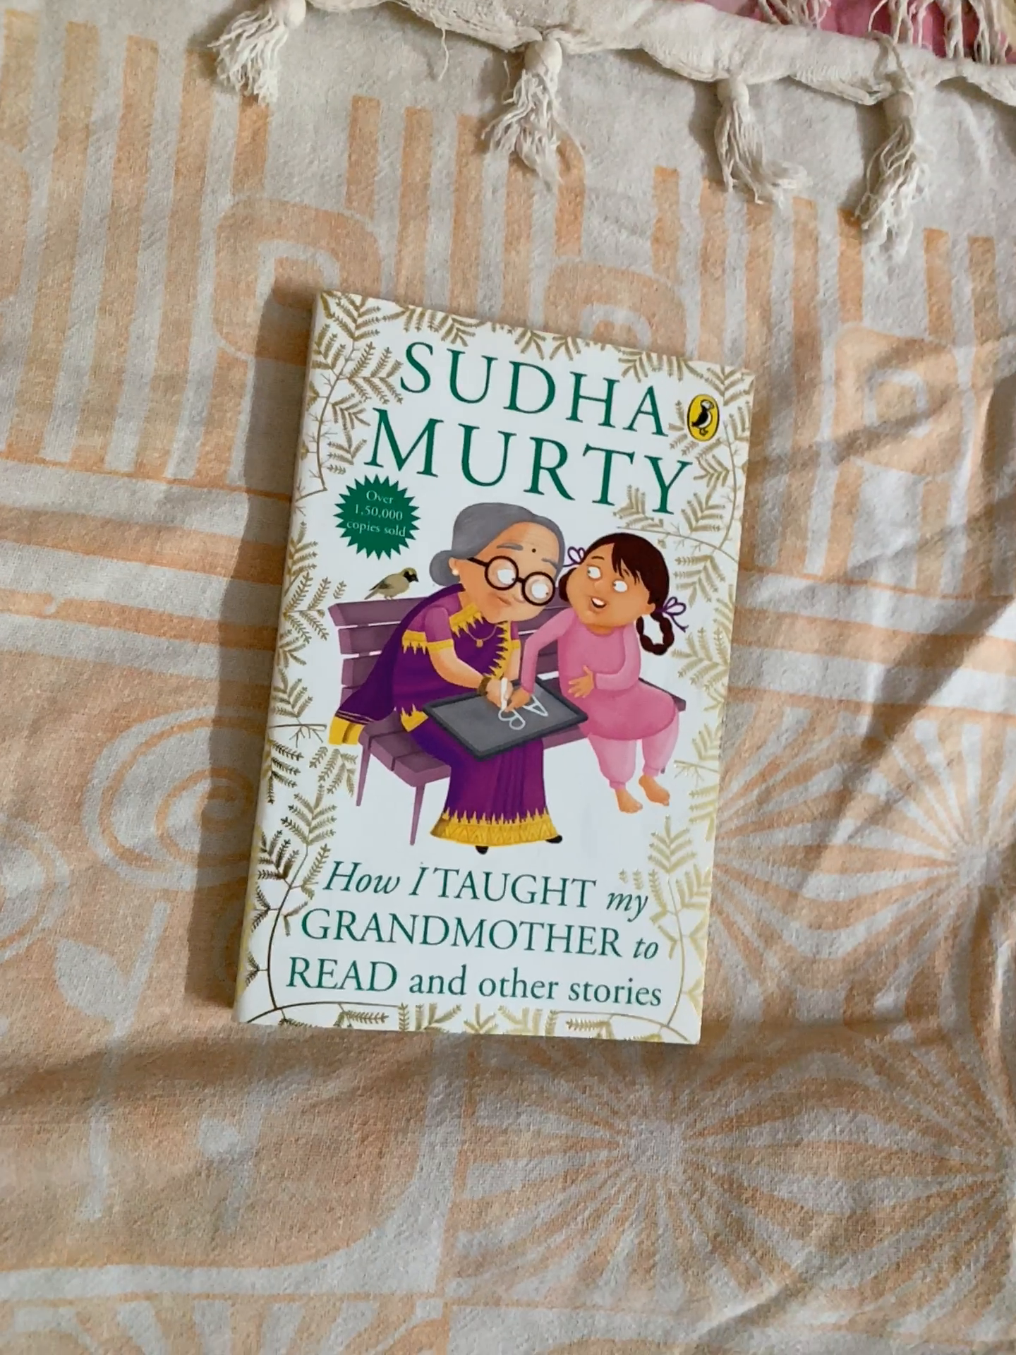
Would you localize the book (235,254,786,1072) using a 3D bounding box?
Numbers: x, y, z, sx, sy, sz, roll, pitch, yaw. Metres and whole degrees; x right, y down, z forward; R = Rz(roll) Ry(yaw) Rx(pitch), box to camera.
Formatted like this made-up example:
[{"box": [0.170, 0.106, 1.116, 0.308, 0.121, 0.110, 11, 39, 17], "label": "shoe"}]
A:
[{"box": [0.005, -0.003, 0.281, 0.130, 0.020, 0.200, 6, 83, -11], "label": "book"}]
